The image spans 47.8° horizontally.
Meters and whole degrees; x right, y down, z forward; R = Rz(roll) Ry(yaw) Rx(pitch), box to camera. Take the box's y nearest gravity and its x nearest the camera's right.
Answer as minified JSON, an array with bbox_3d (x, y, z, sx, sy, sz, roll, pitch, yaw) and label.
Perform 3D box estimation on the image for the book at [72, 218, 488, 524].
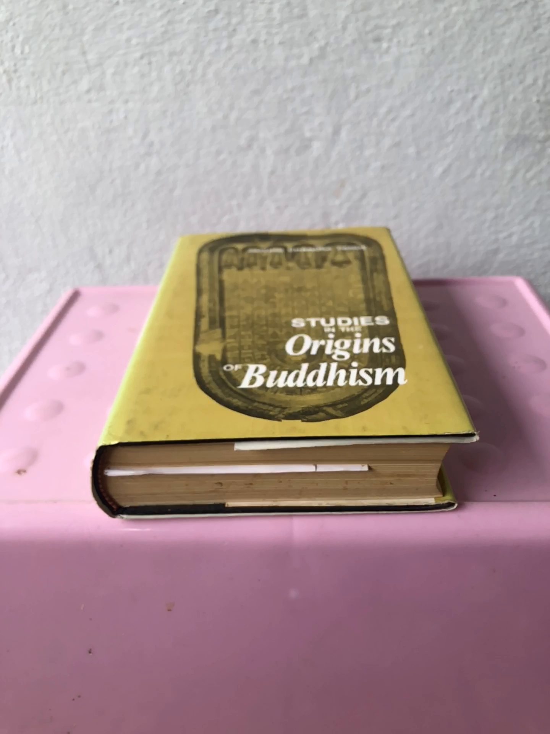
[{"bbox_3d":[0.004,-0.020,0.336,0.150,0.040,0.241,-1,32,1],"label":"book"}]
